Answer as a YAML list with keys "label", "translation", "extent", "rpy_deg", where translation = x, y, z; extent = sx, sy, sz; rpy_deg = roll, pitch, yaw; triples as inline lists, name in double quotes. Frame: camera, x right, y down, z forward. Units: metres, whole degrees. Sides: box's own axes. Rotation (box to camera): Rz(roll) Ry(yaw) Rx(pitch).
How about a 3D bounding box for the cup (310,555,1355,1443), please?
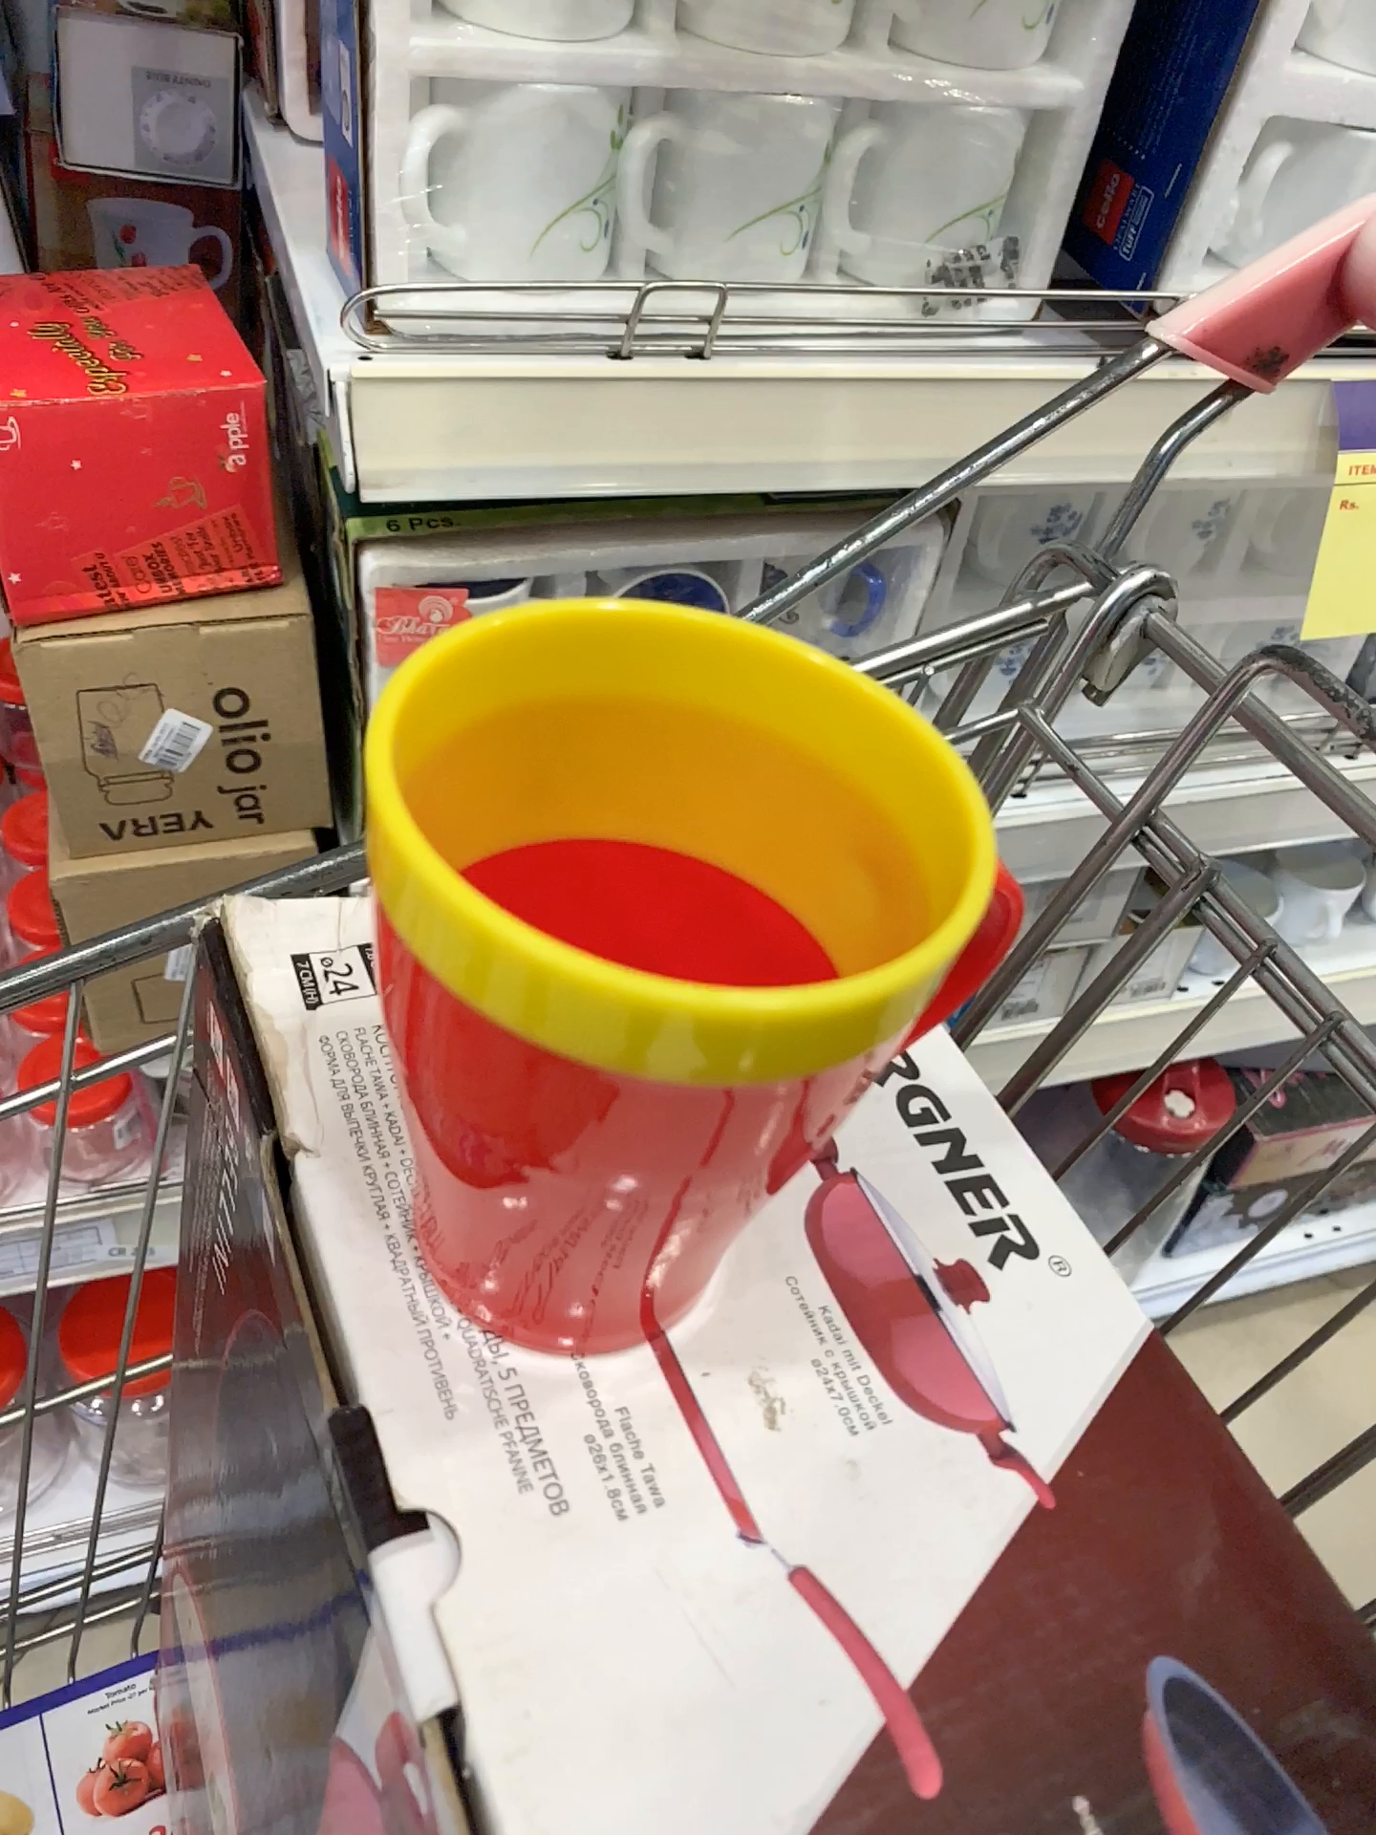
- label: "cup"
  translation: [0.010, 0.006, 0.204]
  extent: [0.110, 0.080, 0.080]
  rpy_deg: [-8, 47, -23]
